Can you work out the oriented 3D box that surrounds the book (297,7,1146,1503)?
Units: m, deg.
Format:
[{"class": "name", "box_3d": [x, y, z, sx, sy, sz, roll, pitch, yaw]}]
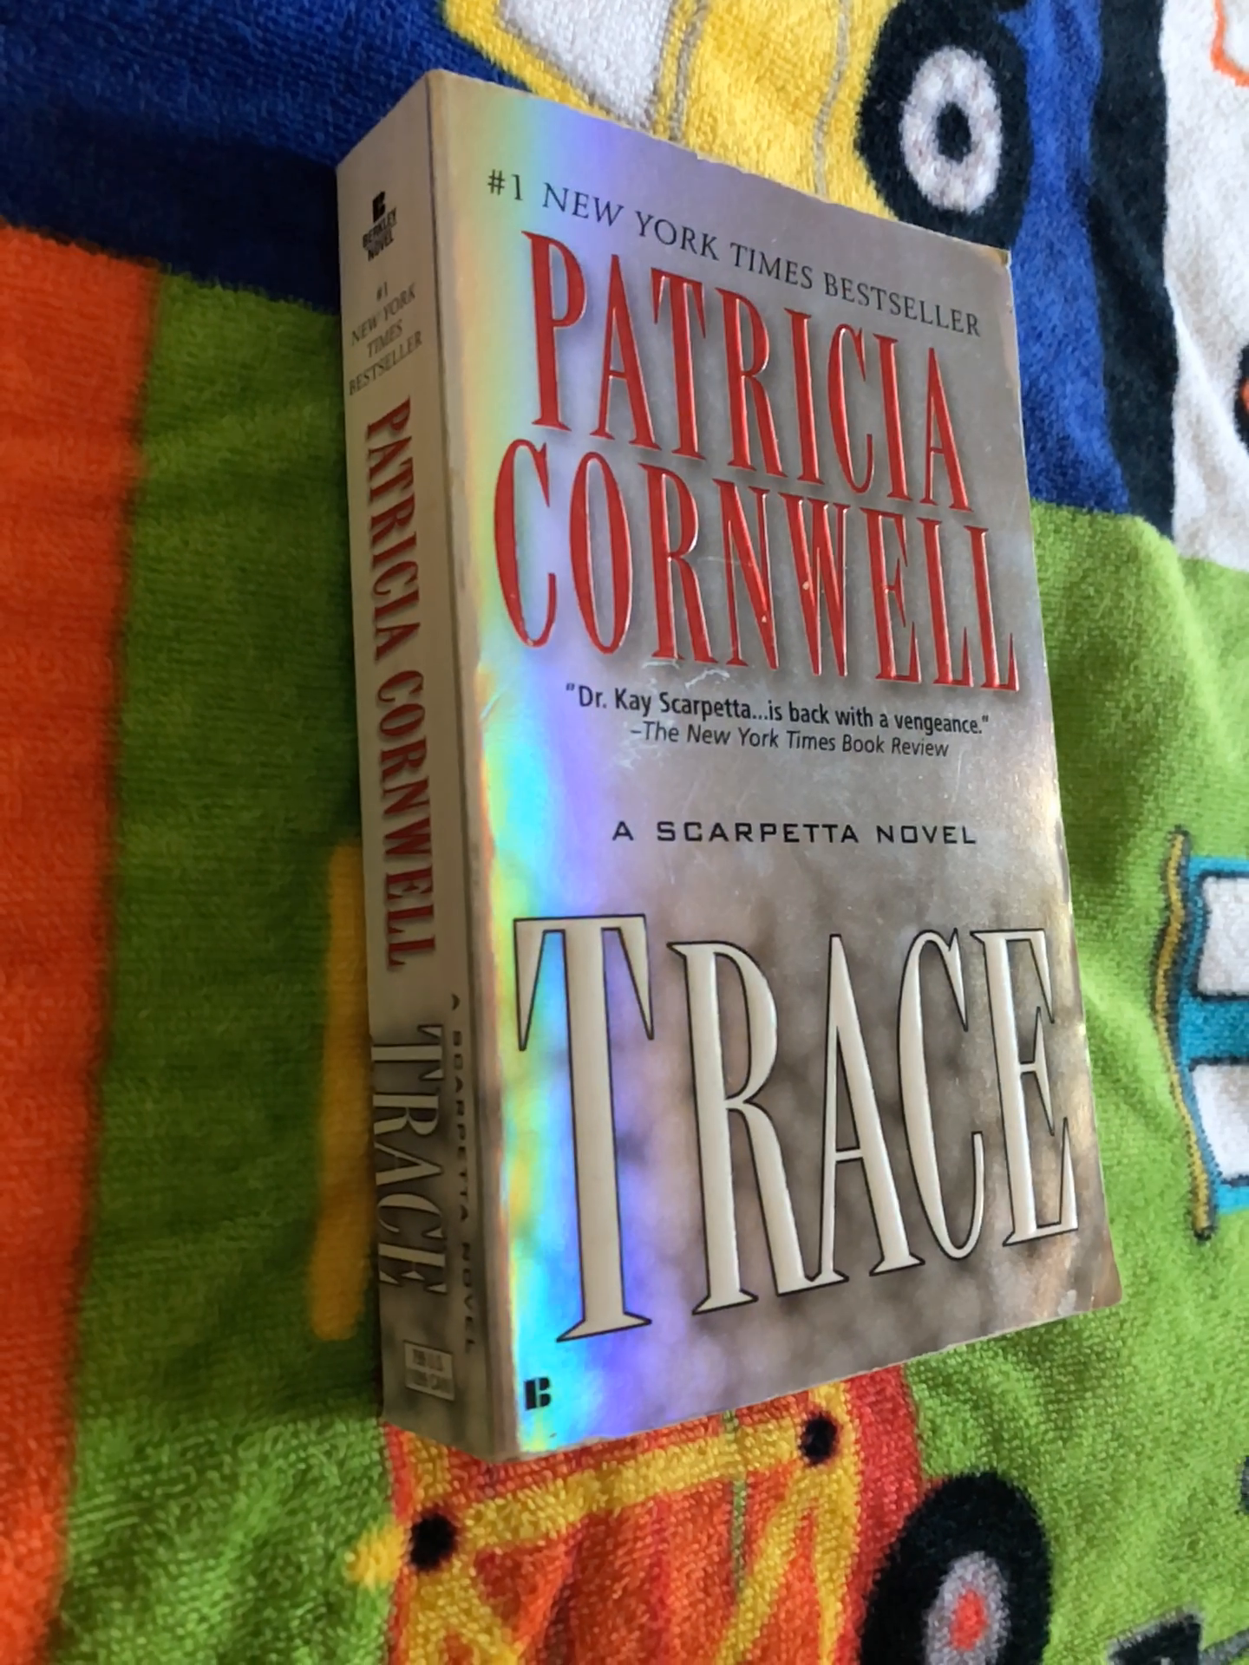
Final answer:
[{"class": "book", "box_3d": [0.018, -0.012, 0.216, 0.120, 0.040, 0.180, 1, 81, -36]}]
